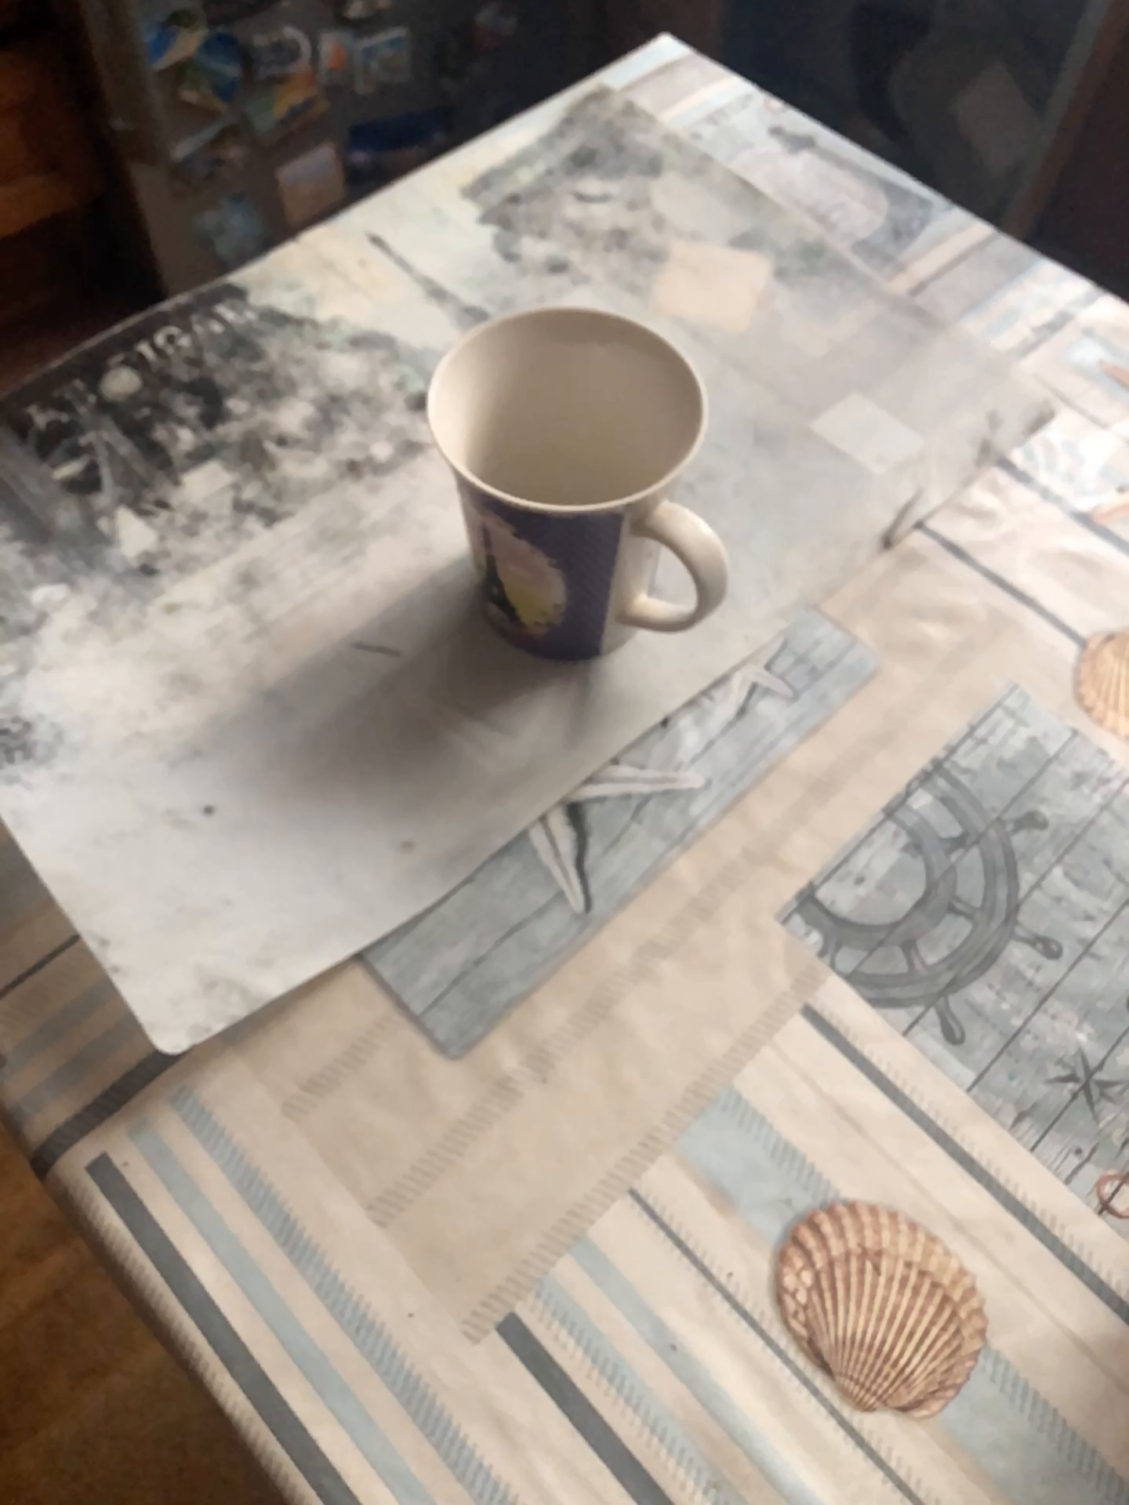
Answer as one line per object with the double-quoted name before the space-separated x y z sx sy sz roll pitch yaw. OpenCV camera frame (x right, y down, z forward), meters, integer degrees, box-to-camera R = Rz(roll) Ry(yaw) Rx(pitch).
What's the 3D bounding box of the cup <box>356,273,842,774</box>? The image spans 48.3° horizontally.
"cup" 0.010 -0.077 0.424 0.120 0.085 0.090 36 64 18
